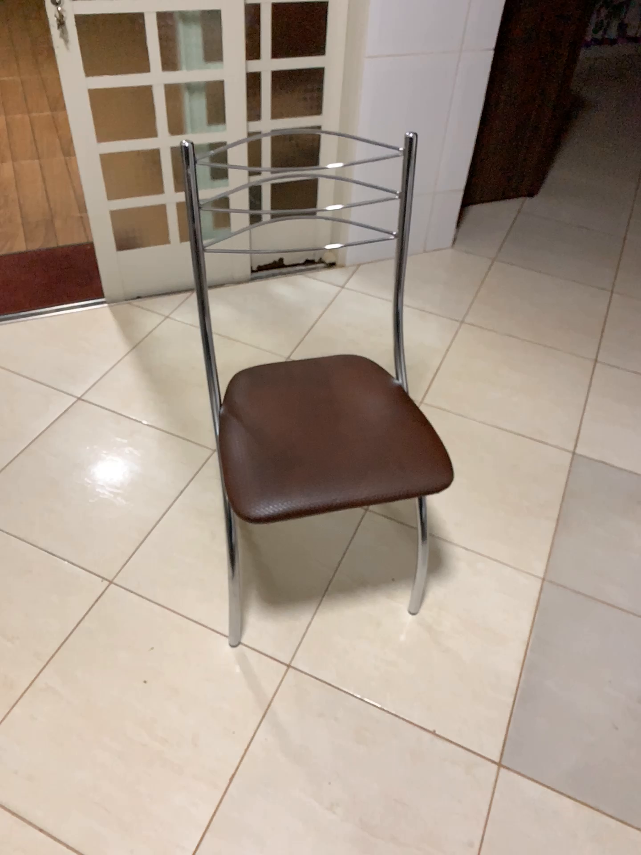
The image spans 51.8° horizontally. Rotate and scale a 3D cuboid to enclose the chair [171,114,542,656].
[{"bbox_3d":[-0.011,-0.039,1.237,0.418,0.871,0.487,-6,46,-11],"label":"chair"}]
